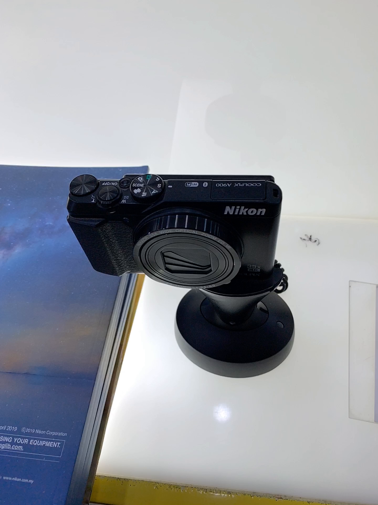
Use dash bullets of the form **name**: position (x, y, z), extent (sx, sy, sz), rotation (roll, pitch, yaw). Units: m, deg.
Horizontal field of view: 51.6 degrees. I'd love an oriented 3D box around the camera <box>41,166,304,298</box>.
- **camera**: position (-0.006, -0.010, 0.213), extent (0.120, 0.060, 0.040), rotation (2, 55, 6)
